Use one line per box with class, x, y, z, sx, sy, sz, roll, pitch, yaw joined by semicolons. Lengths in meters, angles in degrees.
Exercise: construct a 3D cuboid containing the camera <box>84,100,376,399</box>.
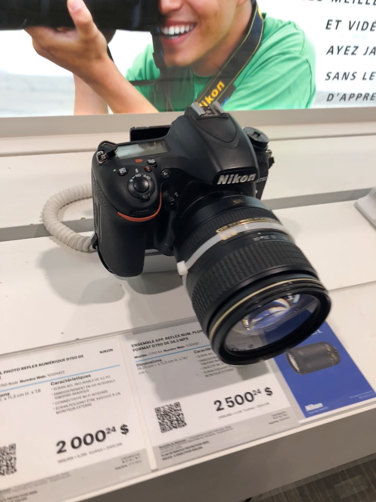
camera;0.014;-0.020;0.299;0.138;0.099;0.184;-10;45;-20
